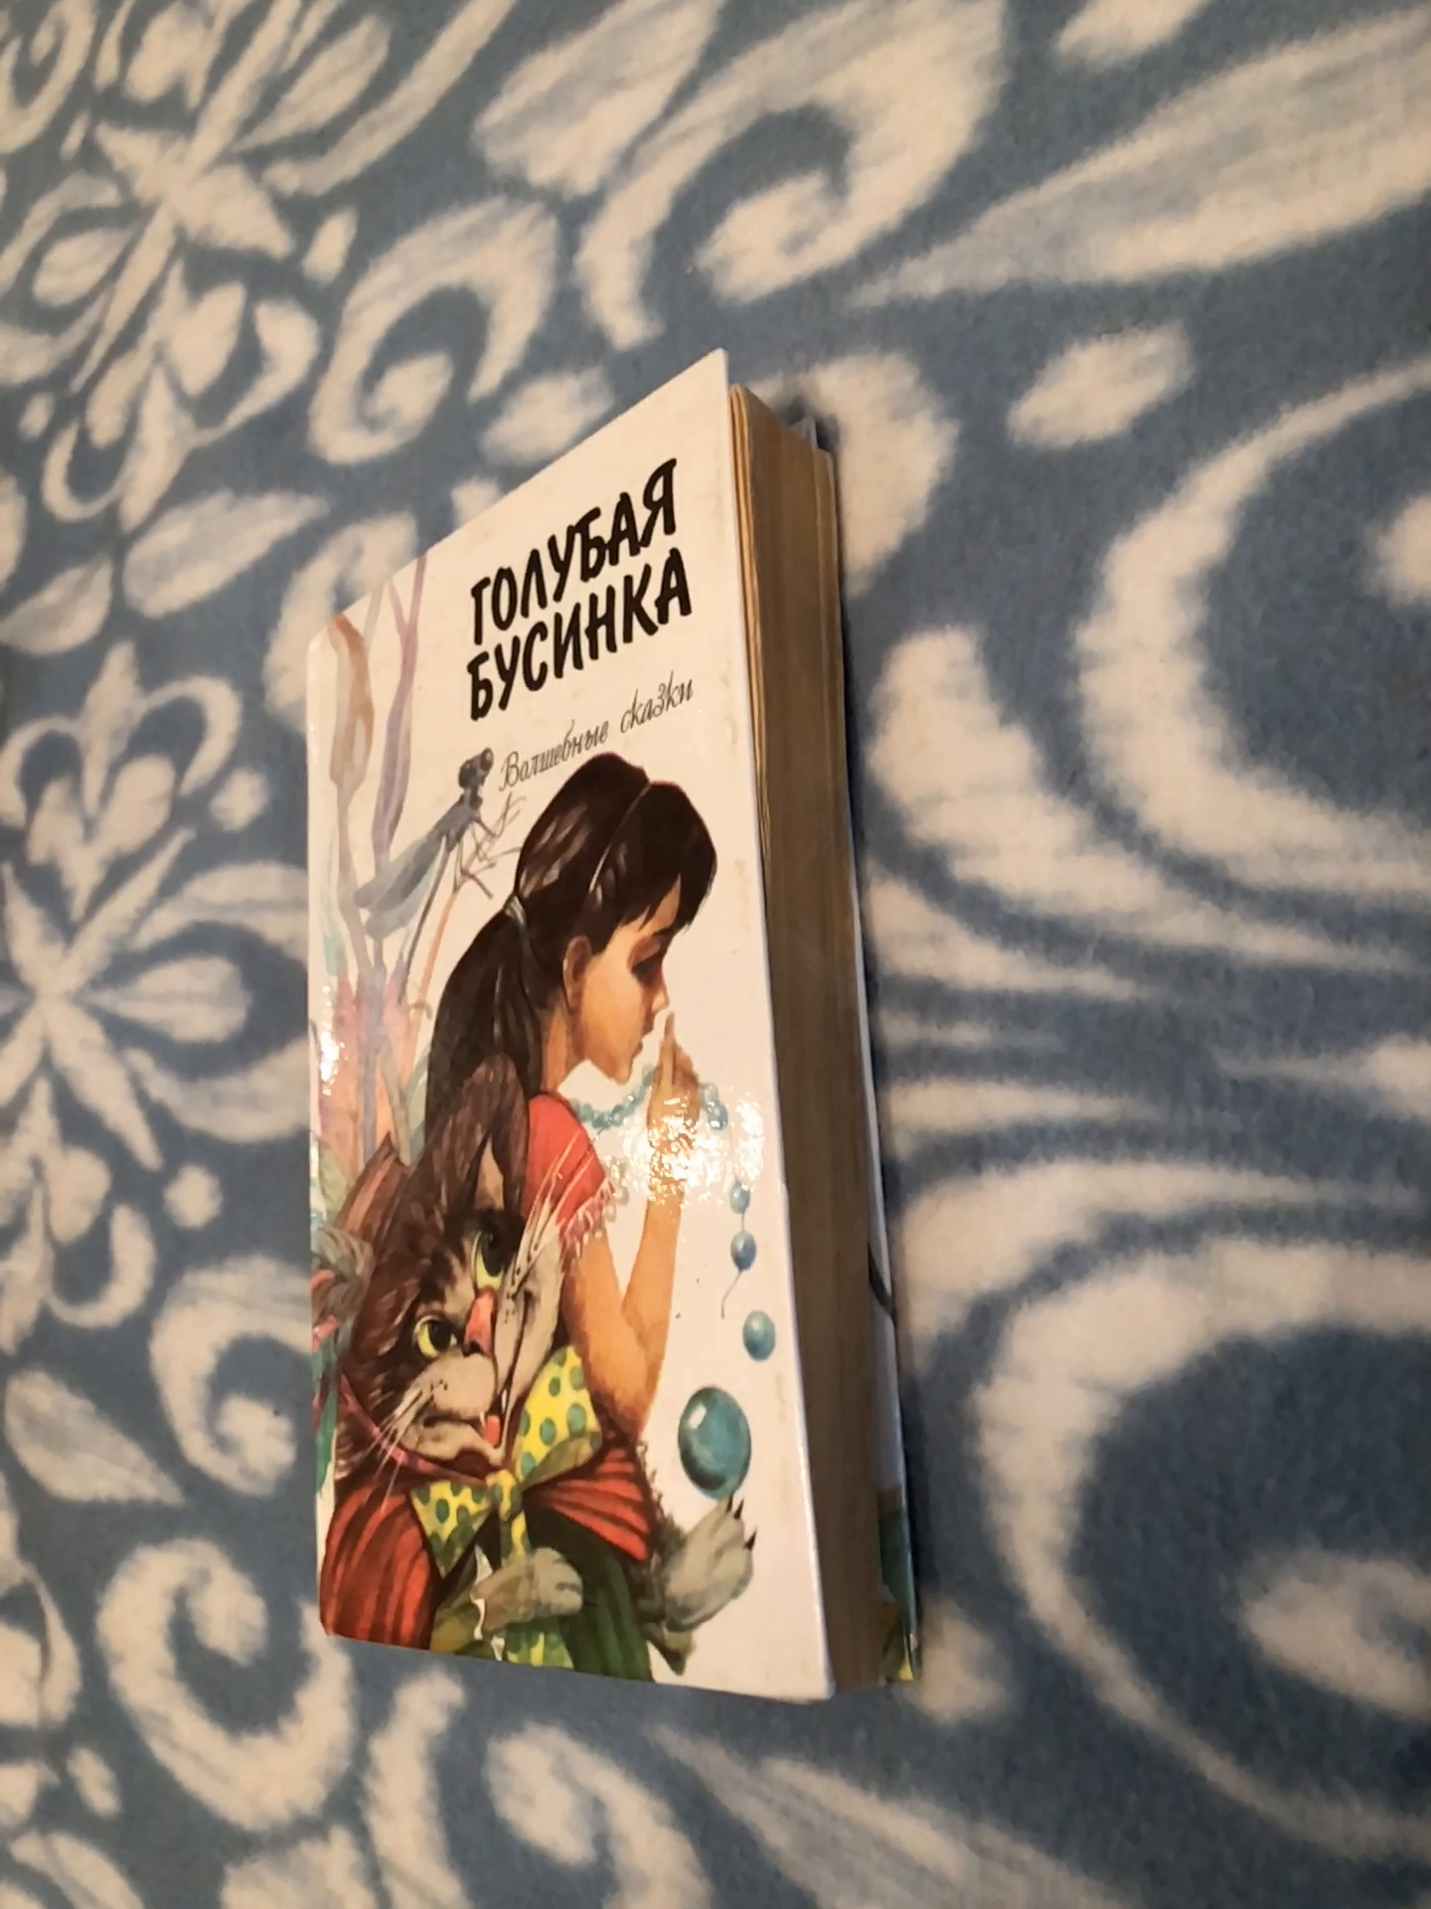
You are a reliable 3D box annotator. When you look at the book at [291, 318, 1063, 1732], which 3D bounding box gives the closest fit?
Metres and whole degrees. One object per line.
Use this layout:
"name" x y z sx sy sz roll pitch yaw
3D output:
"book" -0.022 0.017 0.290 0.146 0.040 0.206 -18 70 43
